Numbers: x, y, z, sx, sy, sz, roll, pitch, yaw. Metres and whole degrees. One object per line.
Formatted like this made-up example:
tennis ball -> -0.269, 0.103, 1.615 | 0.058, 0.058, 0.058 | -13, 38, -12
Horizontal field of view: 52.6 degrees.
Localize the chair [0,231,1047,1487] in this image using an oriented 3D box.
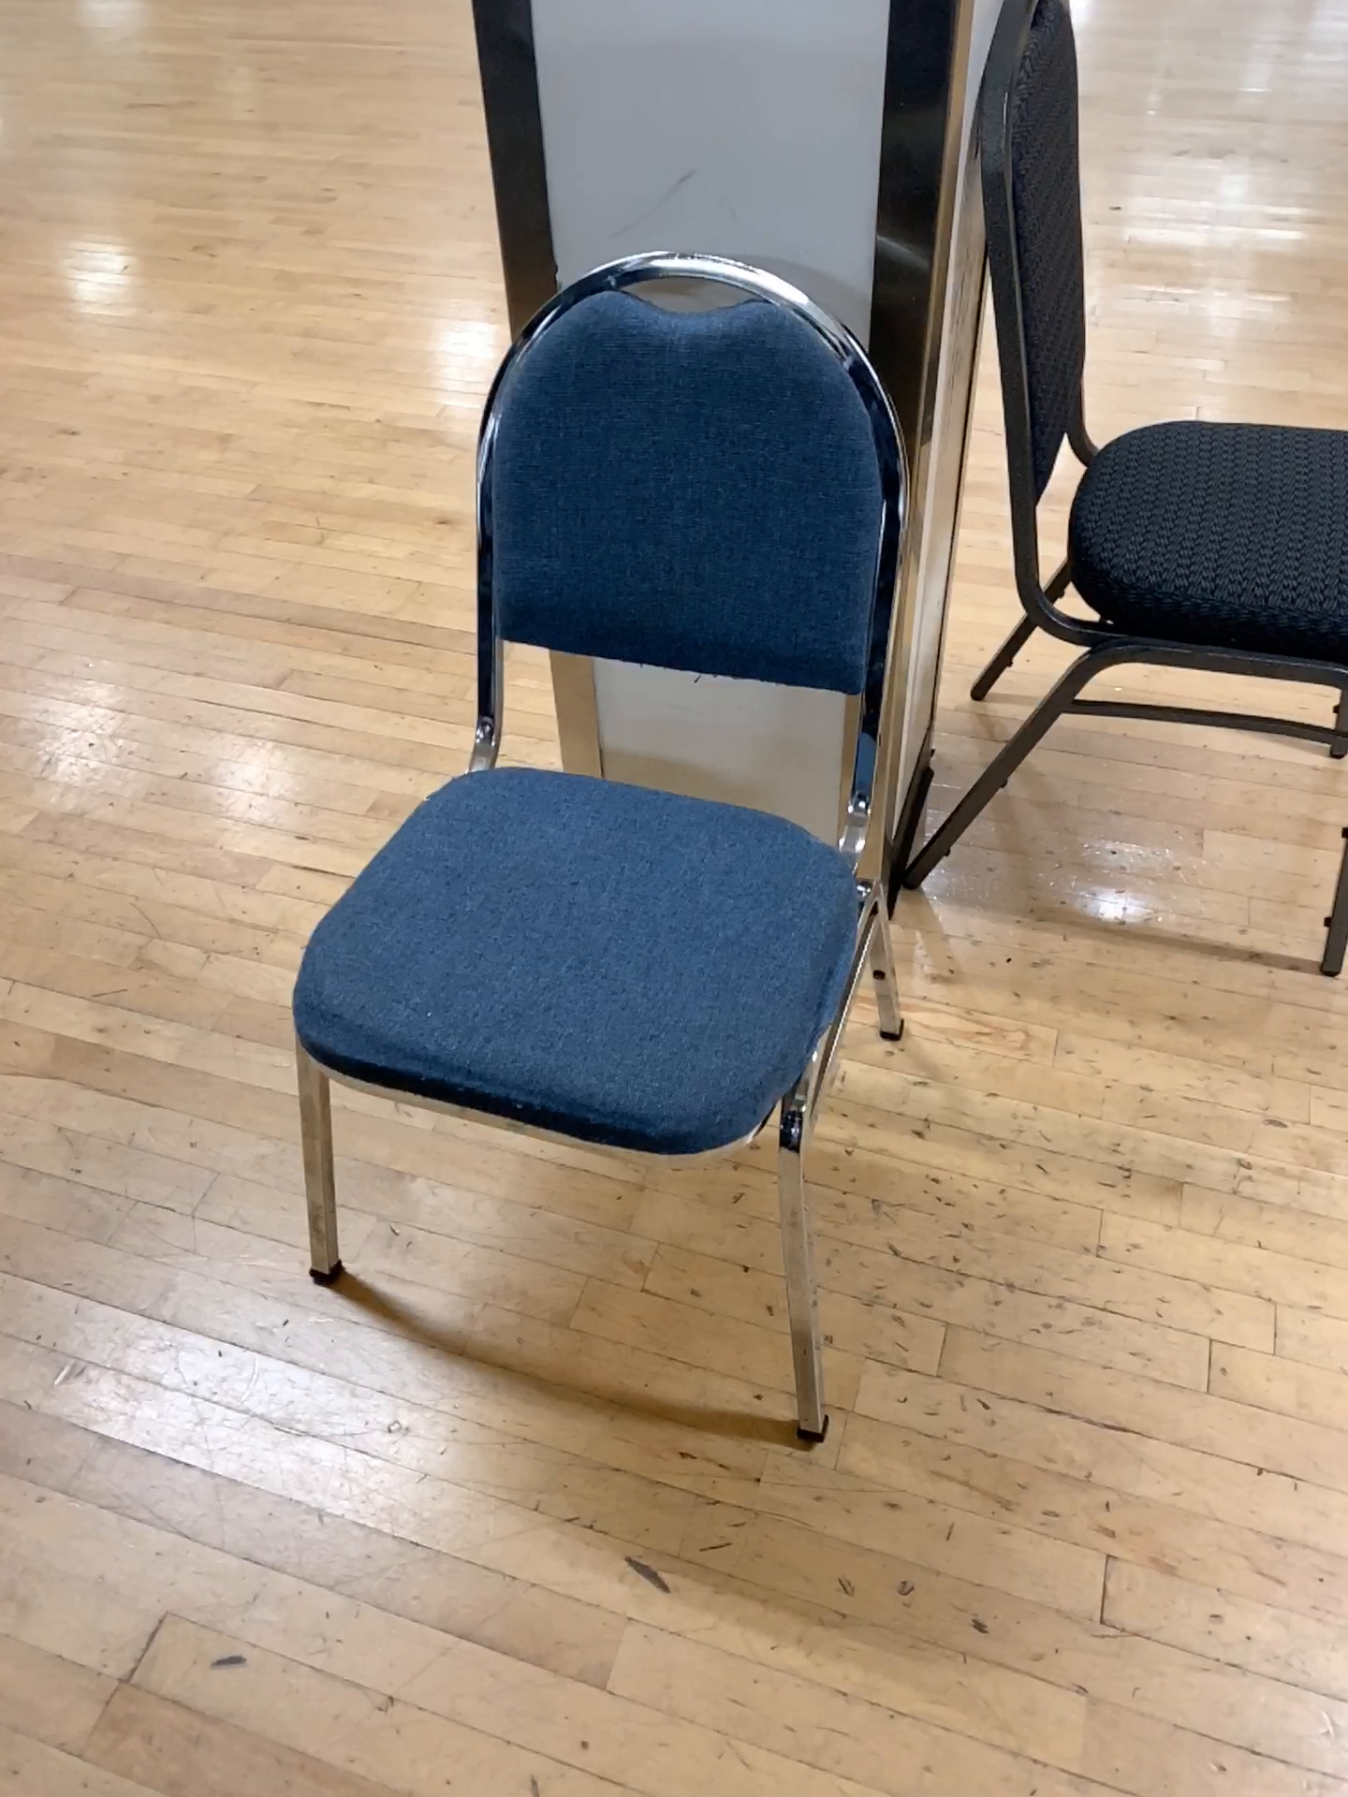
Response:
chair -> -0.053, -0.011, 1.220 | 0.548, 0.888, 0.555 | 12, 46, 15
